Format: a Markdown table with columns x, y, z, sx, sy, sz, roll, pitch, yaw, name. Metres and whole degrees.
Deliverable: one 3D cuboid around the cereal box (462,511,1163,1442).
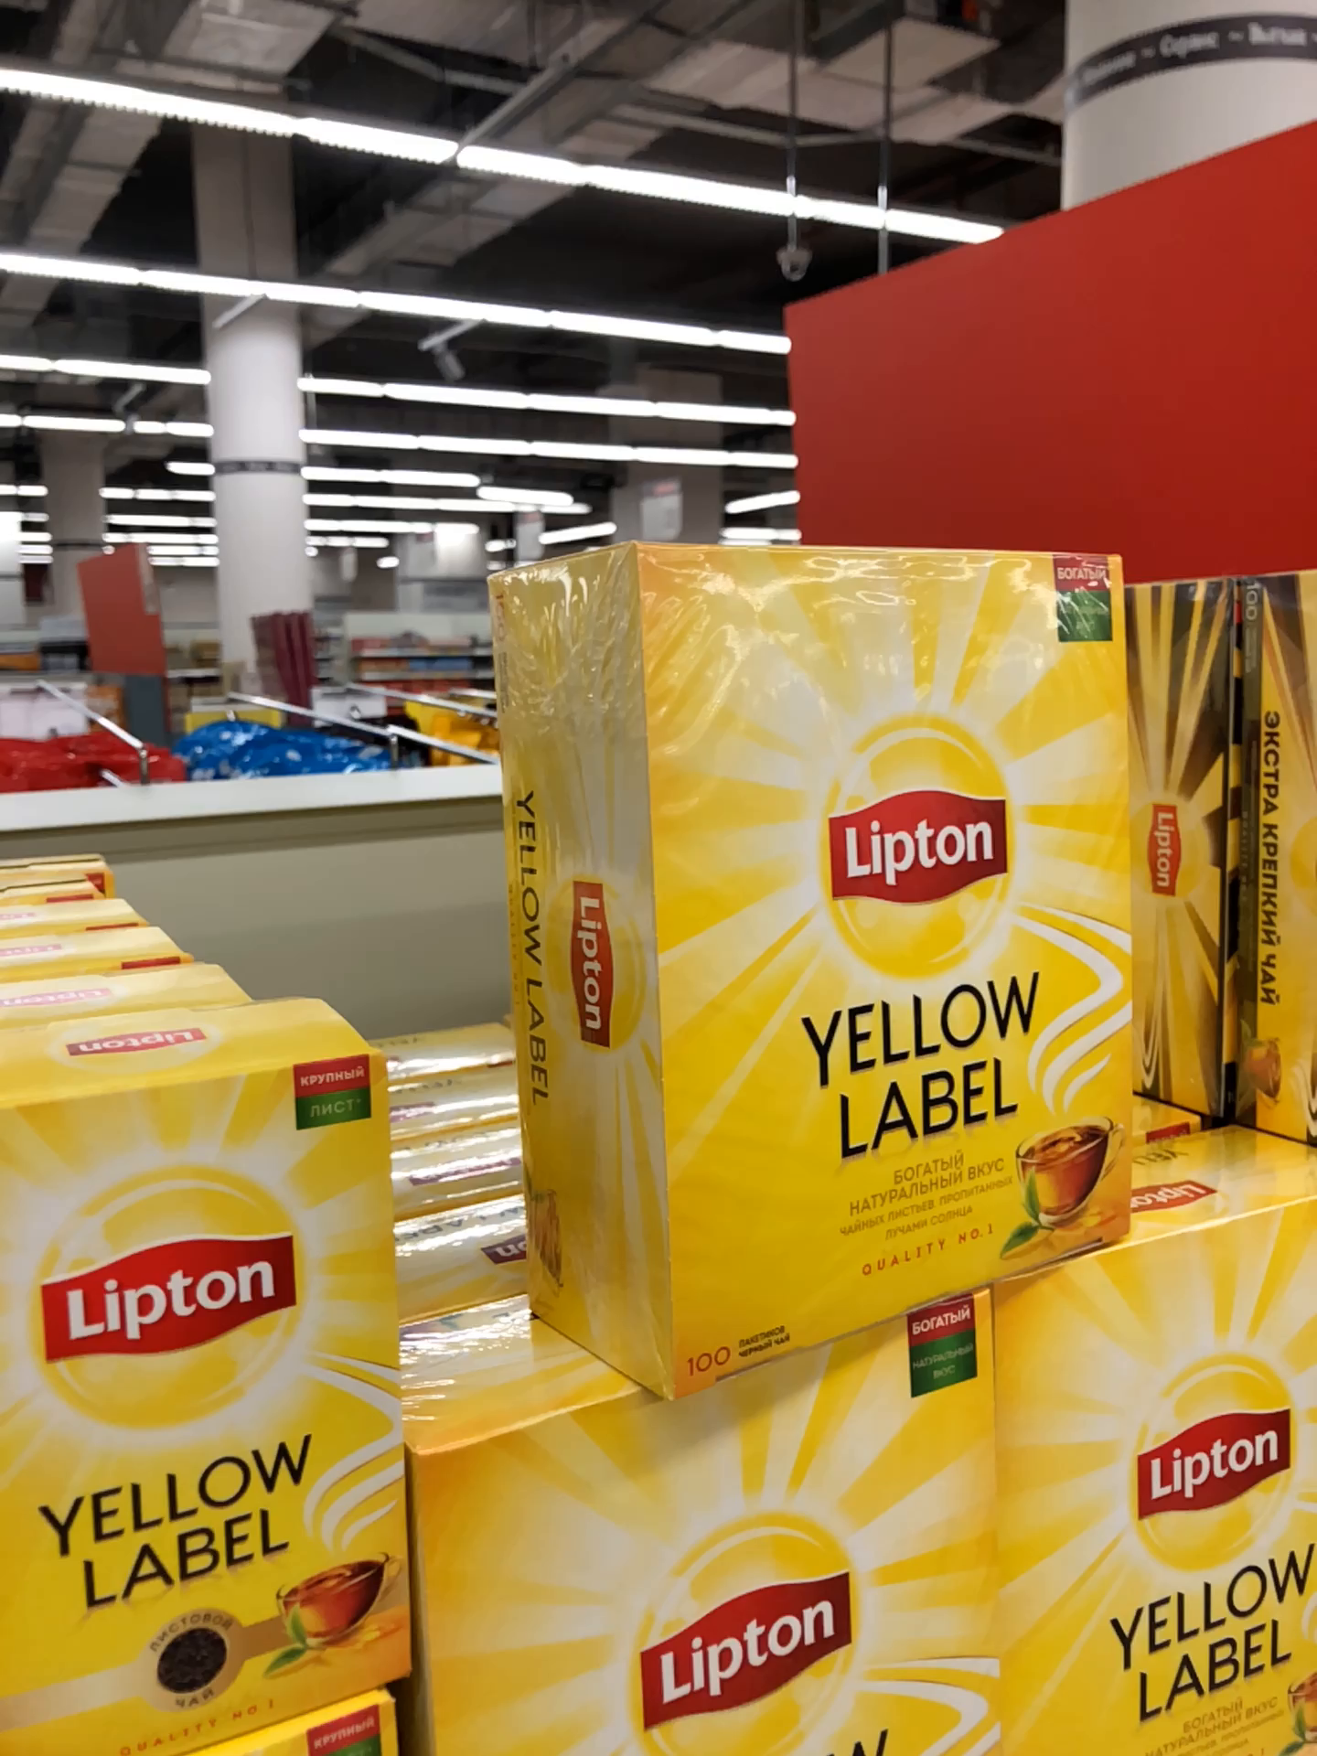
| x | y | z | sx | sy | sz | roll | pitch | yaw | name |
| --- | --- | --- | --- | --- | --- | --- | --- | --- | --- |
| 0.039 | 0.011 | 0.330 | 0.140 | 0.170 | 0.070 | -6 | 7 | -33 | cereal box |
